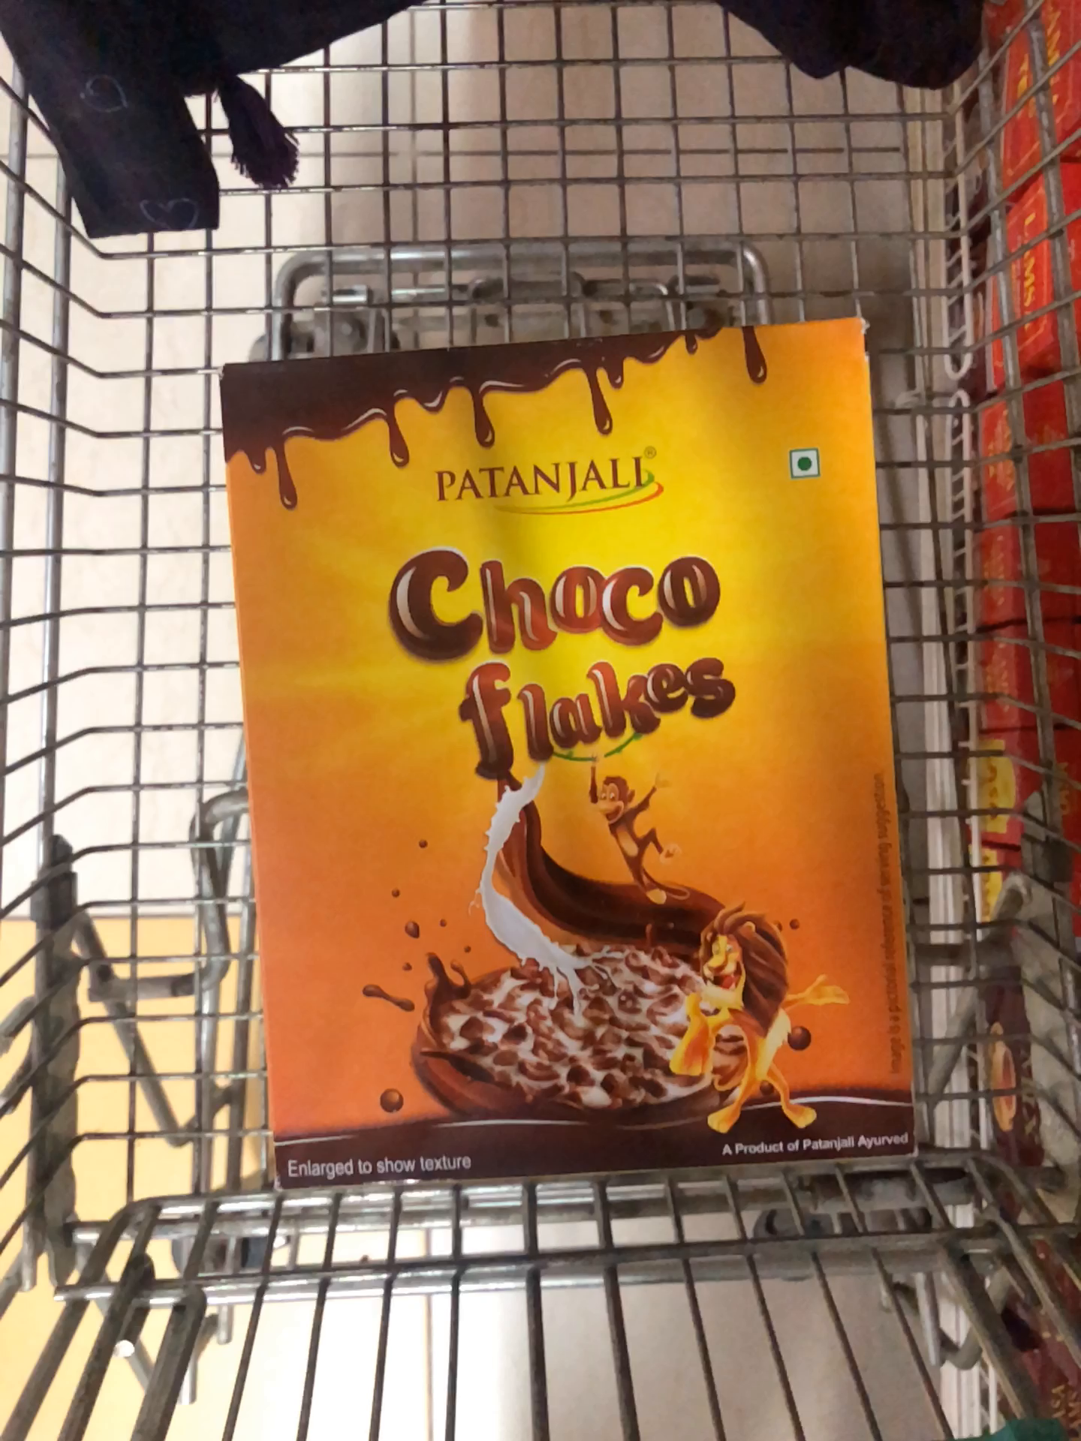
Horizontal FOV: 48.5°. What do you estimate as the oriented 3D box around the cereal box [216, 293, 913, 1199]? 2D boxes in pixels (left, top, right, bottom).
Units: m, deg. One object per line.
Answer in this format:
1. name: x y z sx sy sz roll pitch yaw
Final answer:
1. cereal box: 0.007 0.007 0.374 0.170 0.110 0.230 -4 91 1
